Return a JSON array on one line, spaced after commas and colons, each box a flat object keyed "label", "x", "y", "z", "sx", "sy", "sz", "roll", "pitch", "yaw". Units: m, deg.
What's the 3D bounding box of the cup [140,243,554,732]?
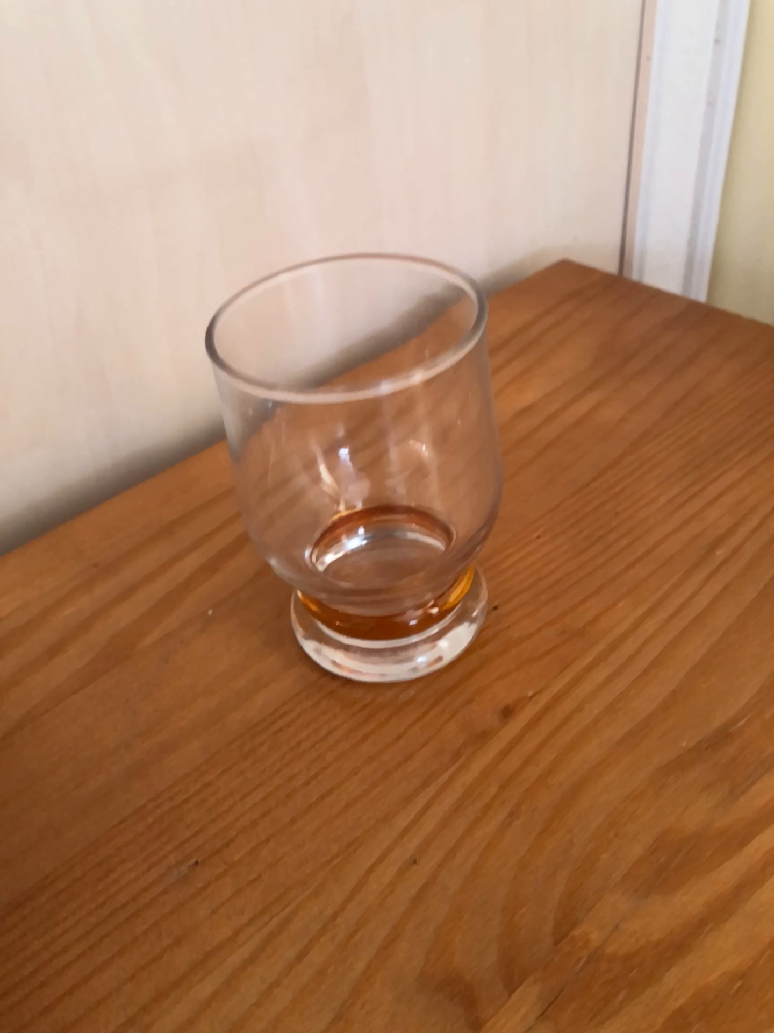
[{"label": "cup", "x": -0.003, "y": -0.010, "z": 0.242, "sx": 0.076, "sy": 0.099, "sz": 0.074, "roll": -4, "pitch": 39, "yaw": 3}]
